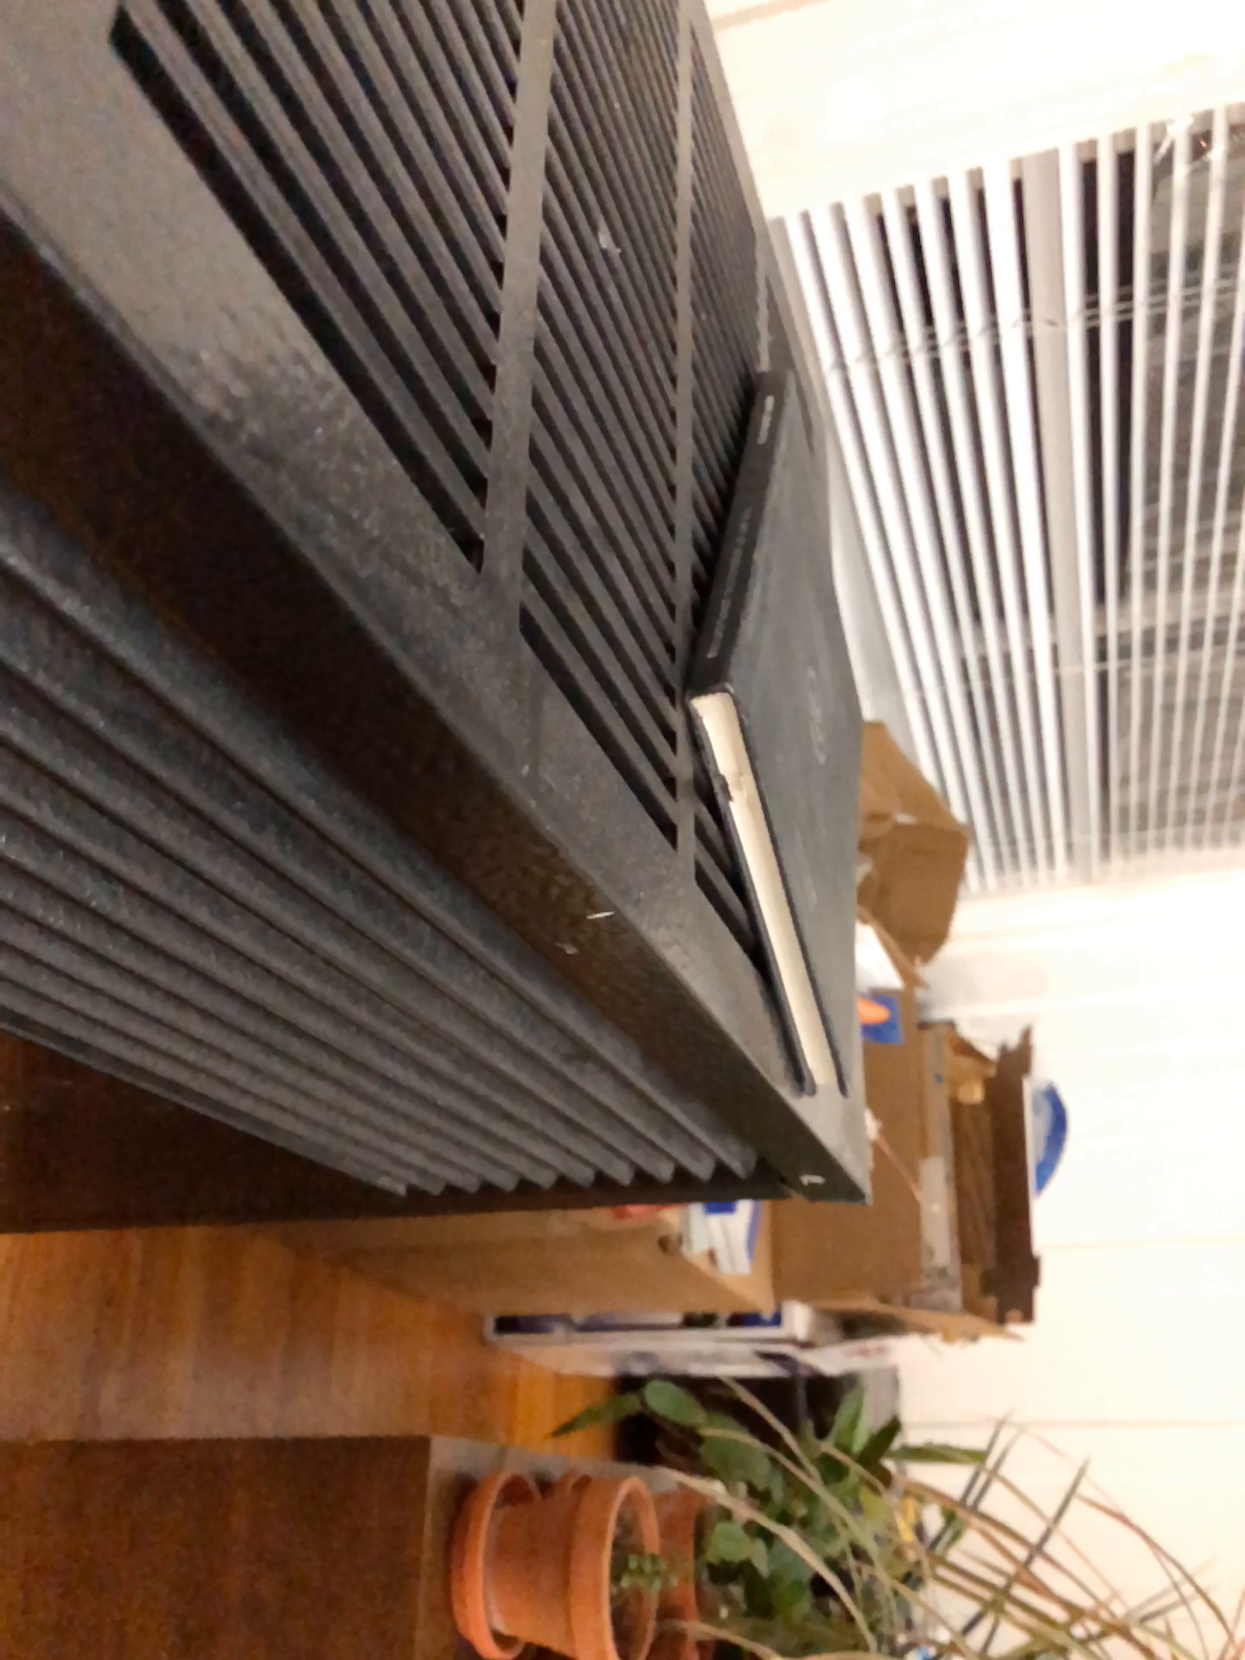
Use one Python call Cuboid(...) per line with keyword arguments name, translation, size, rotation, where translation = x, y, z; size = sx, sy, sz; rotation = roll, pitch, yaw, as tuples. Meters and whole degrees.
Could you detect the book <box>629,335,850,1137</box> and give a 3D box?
Cuboid(name="book", translation=(0.051, -0.046, 0.475), size=(0.251, 0.020, 0.160), rotation=(-77, 154, -50))
